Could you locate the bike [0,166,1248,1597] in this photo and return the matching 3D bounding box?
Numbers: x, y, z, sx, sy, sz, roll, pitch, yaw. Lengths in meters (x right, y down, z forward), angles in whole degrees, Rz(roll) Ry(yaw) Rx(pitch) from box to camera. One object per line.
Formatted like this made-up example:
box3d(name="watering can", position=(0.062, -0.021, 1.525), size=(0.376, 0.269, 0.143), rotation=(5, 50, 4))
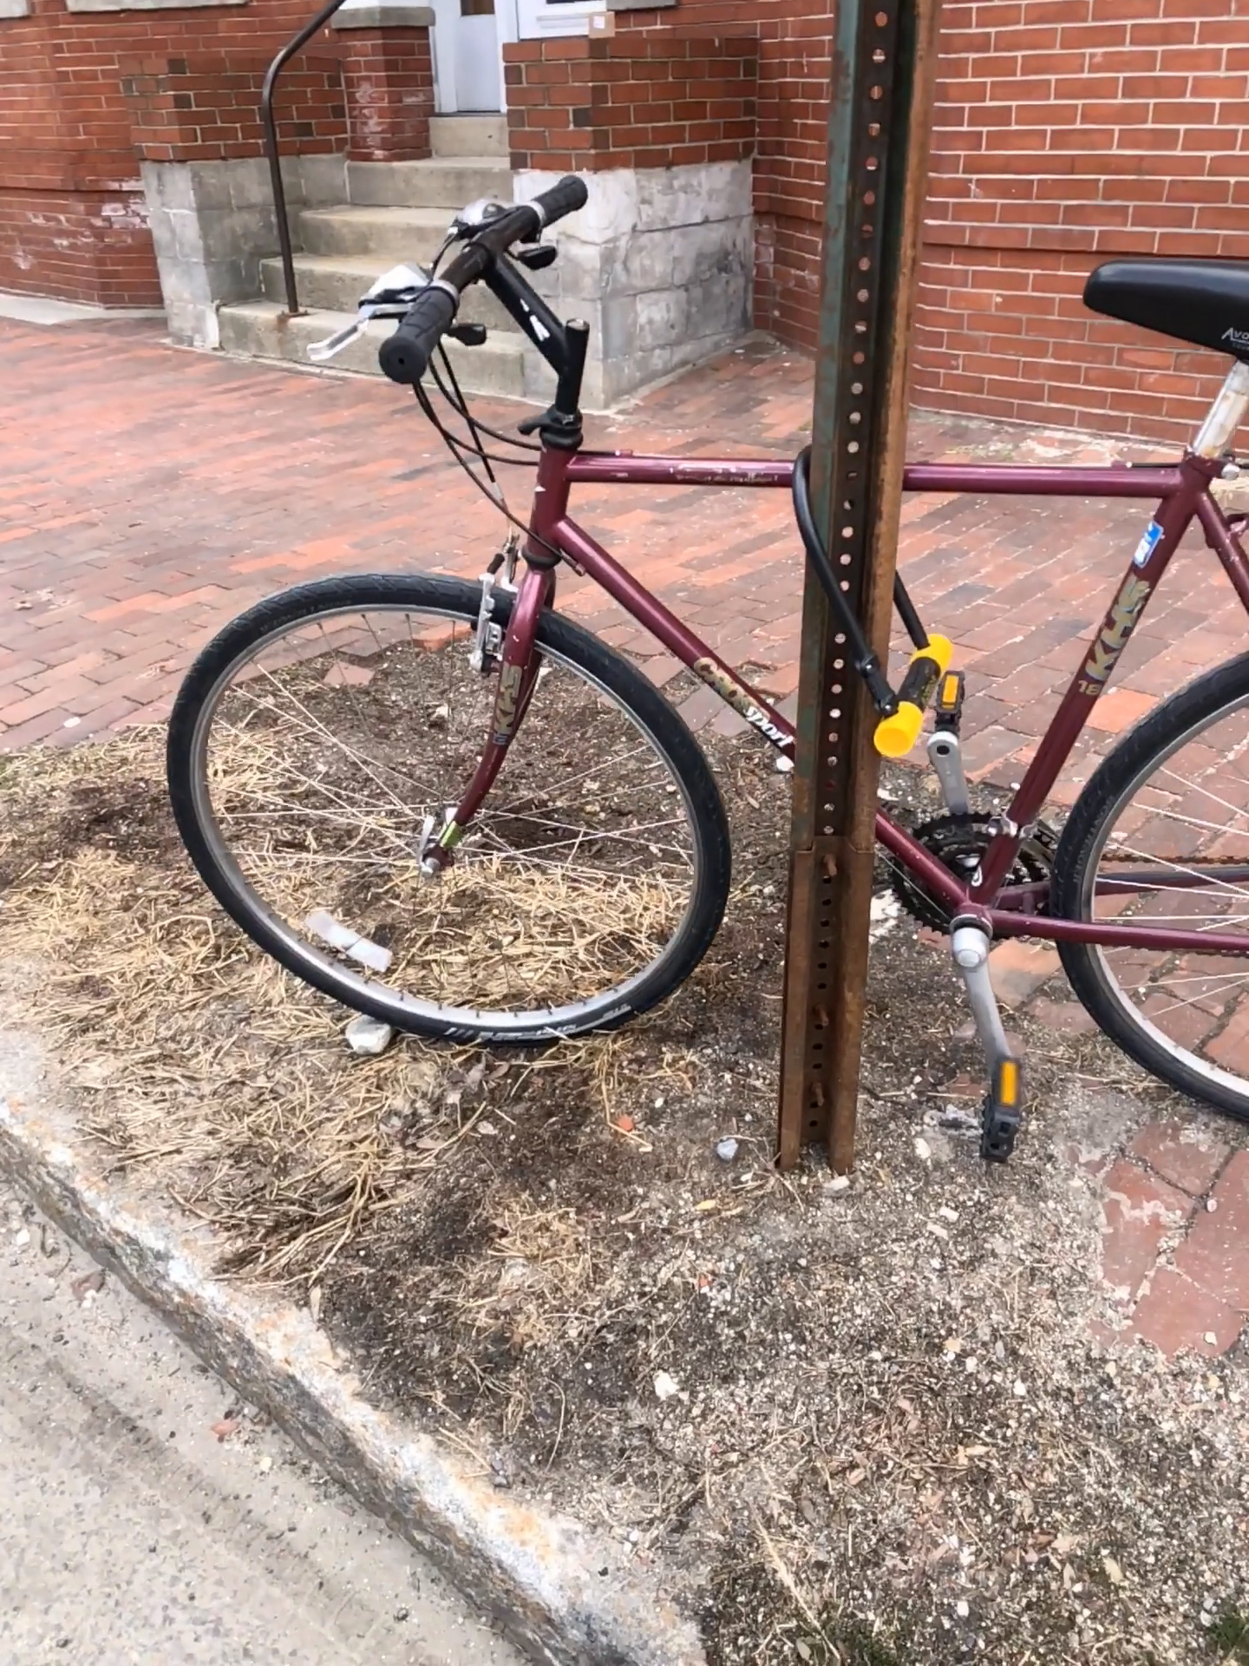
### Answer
box3d(name="bike", position=(0.280, -0.067, 1.351), size=(1.726, 1.011, 0.671), rotation=(6, 29, 13))
